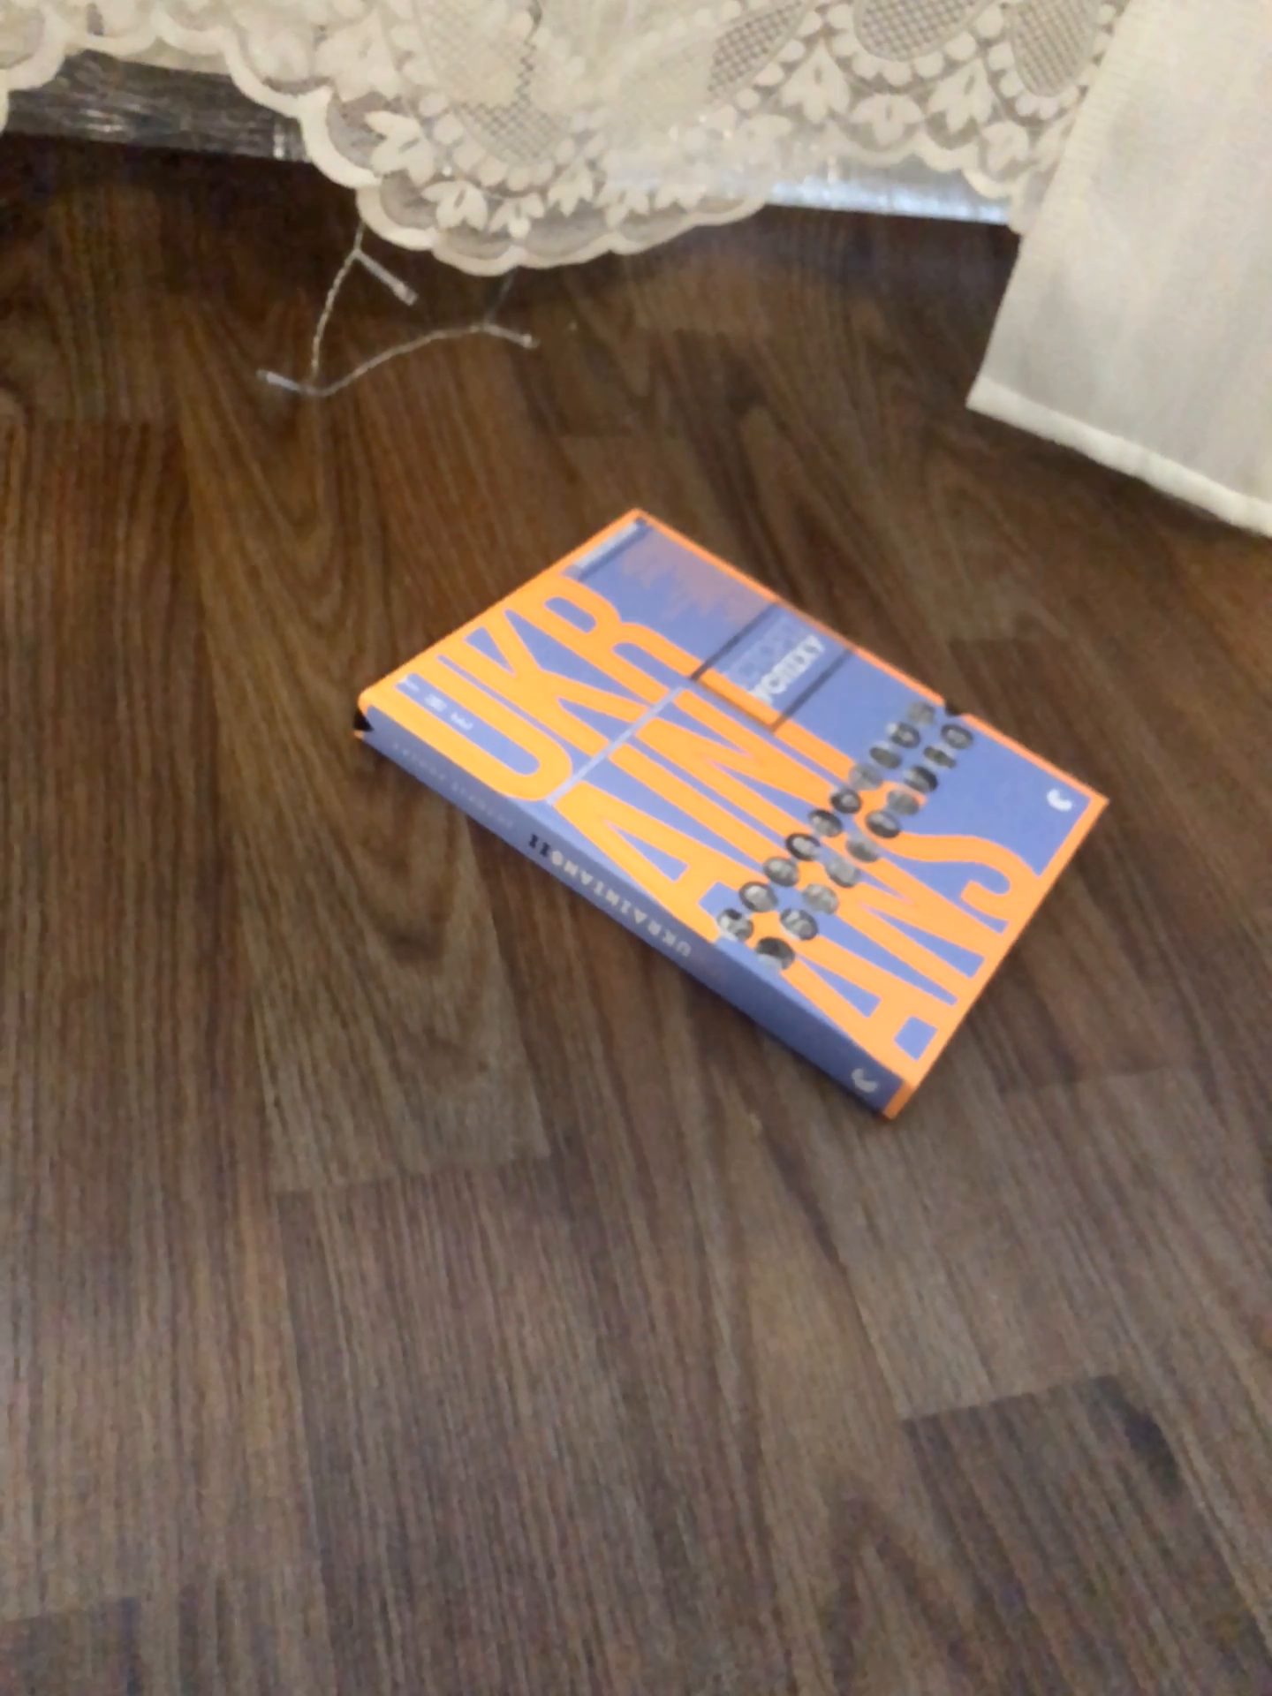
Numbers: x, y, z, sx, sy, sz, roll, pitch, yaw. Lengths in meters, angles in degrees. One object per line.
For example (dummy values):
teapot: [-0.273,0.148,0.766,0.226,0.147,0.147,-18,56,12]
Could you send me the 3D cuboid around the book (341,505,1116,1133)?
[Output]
book: [0.038,-0.026,0.480,0.215,0.020,0.165,34,46,13]
